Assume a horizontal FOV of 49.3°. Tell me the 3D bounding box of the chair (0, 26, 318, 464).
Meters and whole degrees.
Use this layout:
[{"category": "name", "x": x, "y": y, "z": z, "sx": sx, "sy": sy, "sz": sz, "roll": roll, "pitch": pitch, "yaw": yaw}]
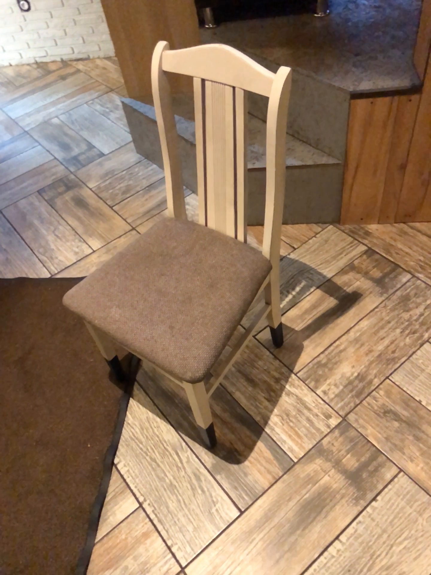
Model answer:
[{"category": "chair", "x": -0.097, "y": -0.065, "z": 1.229, "sx": 0.480, "sy": 0.916, "sz": 0.520, "roll": 26, "pitch": 57, "yaw": 28}]
